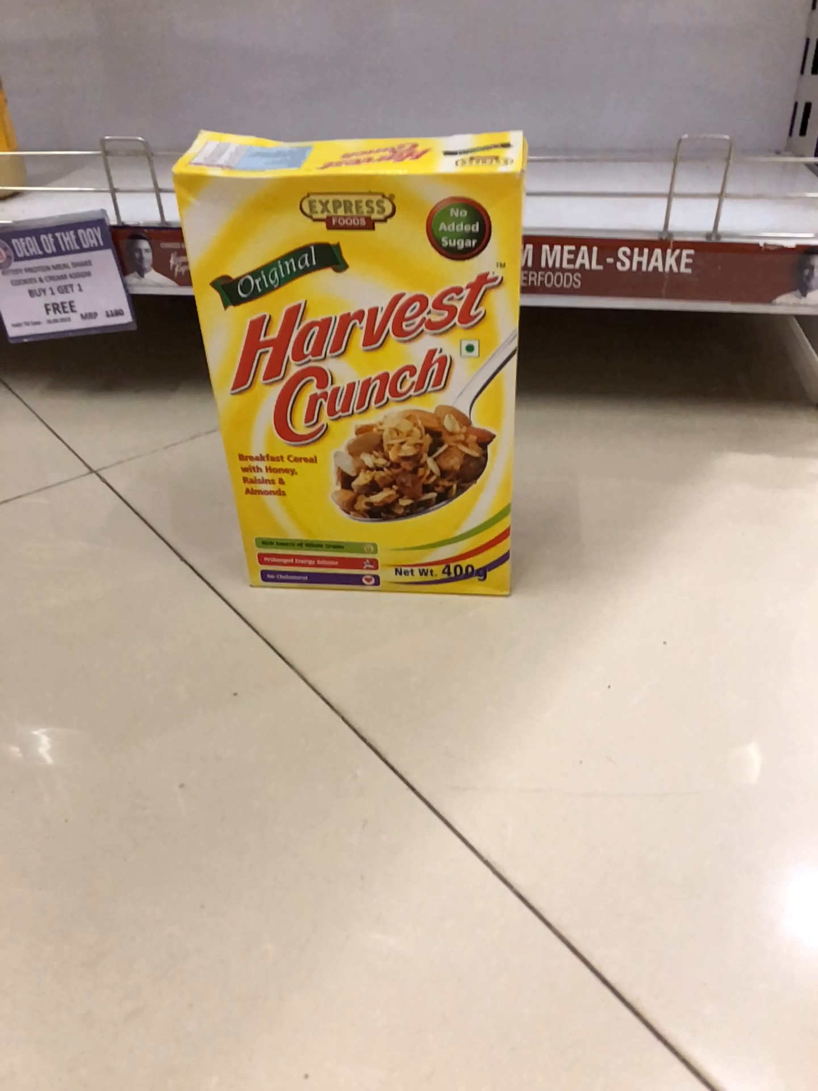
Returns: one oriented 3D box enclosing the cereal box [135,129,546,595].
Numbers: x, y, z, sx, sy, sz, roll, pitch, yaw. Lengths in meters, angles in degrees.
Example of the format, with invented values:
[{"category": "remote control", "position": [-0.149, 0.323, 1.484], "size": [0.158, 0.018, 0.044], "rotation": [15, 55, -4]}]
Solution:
[{"category": "cereal box", "position": [-0.023, -0.078, 0.426], "size": [0.160, 0.209, 0.050], "rotation": [1, 34, 4]}]
